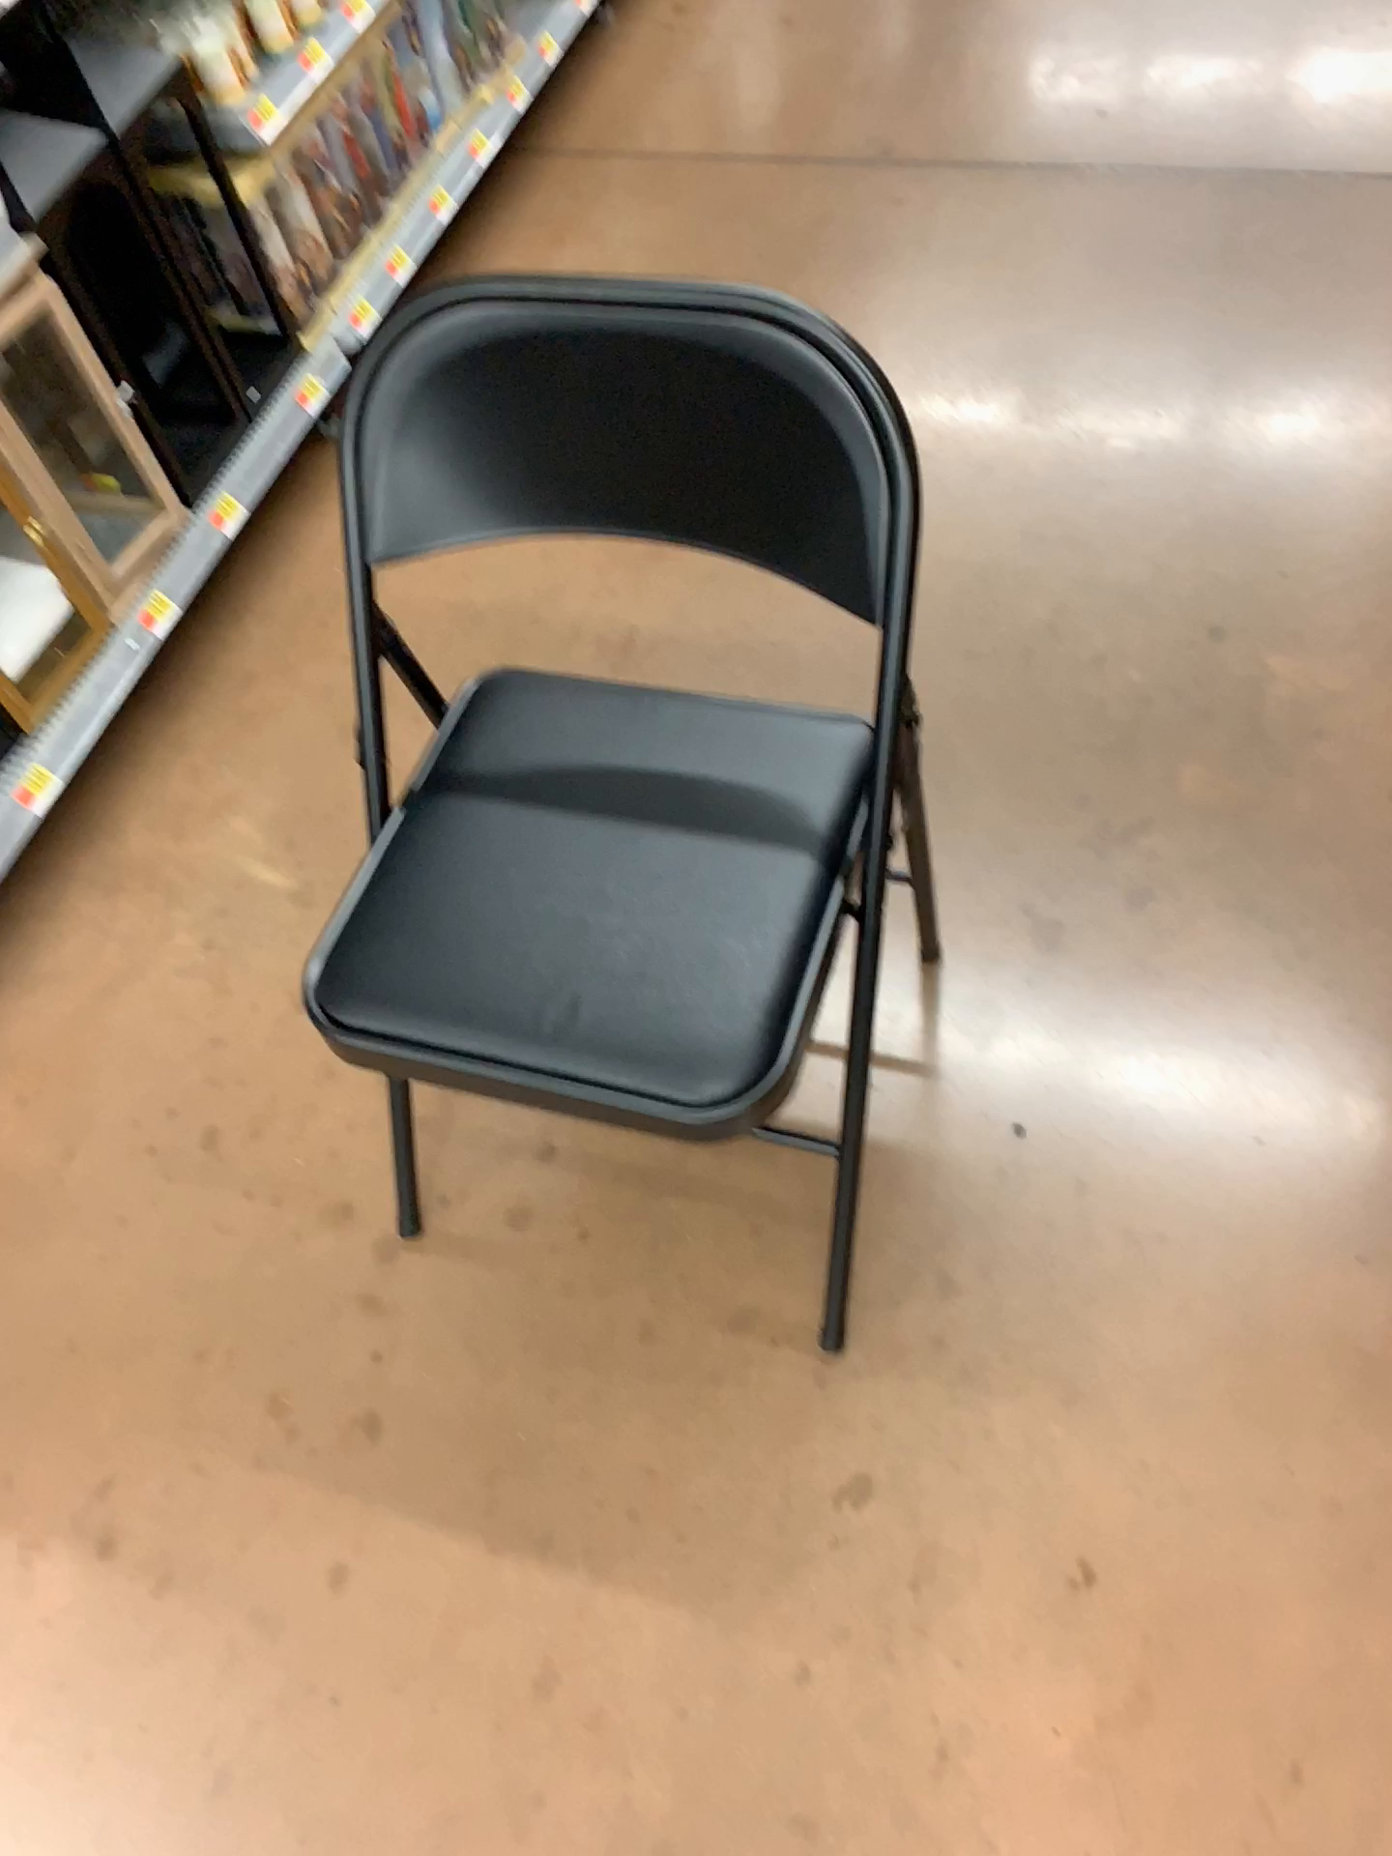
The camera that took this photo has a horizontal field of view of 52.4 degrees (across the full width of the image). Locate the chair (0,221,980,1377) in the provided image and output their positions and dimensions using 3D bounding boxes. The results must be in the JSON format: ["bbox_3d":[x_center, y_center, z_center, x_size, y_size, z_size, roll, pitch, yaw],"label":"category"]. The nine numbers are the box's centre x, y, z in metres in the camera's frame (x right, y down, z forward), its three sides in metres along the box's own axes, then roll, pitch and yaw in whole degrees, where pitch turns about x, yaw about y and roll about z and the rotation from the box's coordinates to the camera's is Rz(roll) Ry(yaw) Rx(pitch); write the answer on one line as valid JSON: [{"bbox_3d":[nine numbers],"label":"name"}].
[{"bbox_3d":[-0.074,-0.054,1.061,0.470,0.697,0.471,11,59,17],"label":"chair"}]
